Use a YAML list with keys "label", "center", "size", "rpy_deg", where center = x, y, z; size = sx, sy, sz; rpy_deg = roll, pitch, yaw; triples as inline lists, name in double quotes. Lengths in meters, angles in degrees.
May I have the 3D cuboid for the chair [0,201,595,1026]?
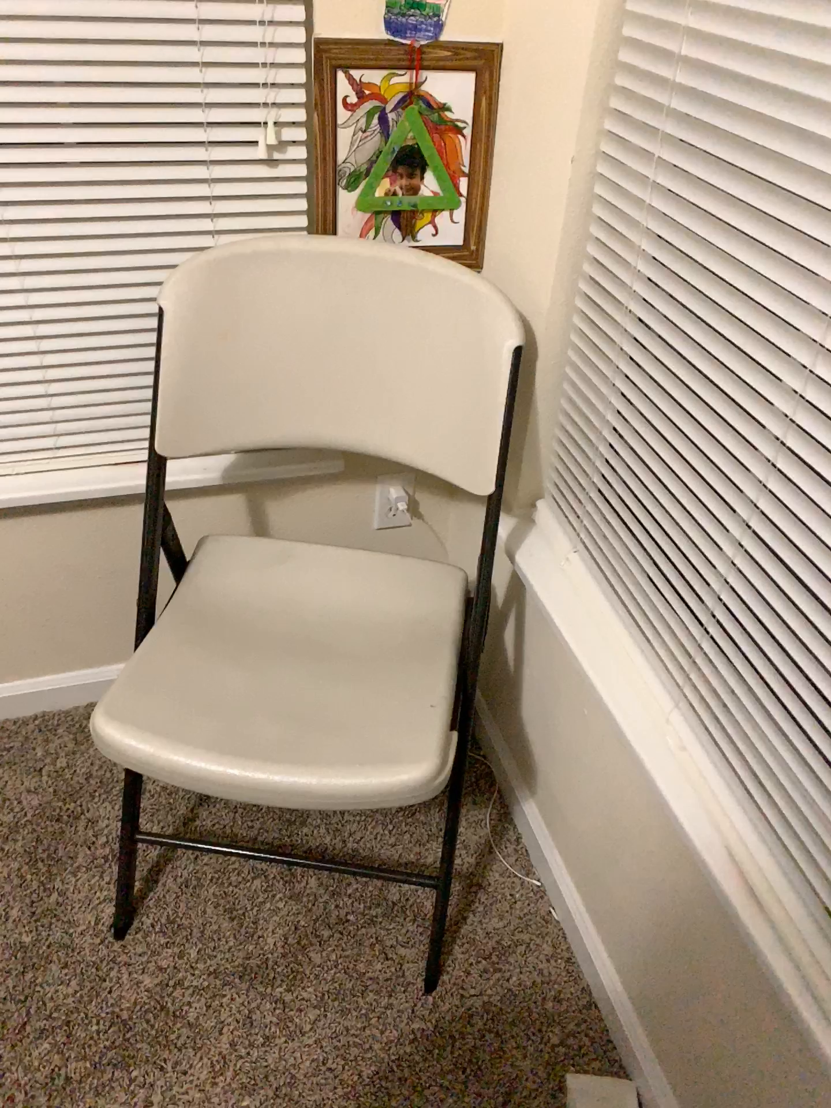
- label: "chair"
  center: [-0.134, 0.053, 1.184]
  size: [0.610, 0.816, 0.683]
  rpy_deg: [9, 37, 6]
